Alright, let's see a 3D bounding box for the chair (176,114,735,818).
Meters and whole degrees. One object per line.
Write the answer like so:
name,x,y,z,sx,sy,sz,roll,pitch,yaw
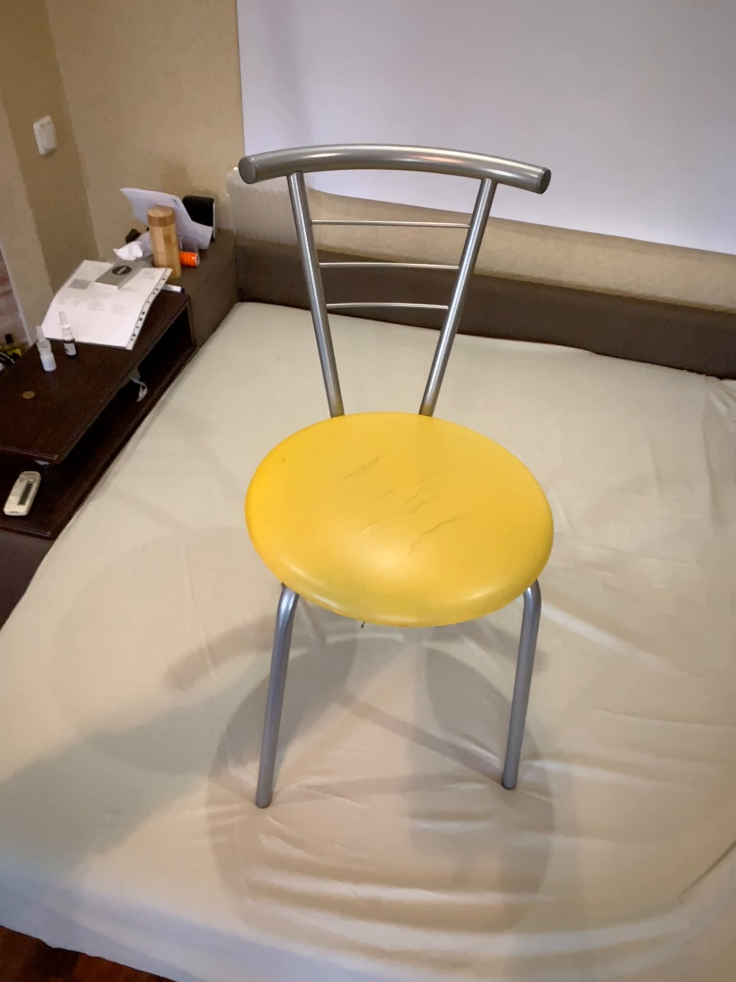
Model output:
chair,0.054,-0.007,1.002,0.460,0.763,0.505,-1,42,-5
